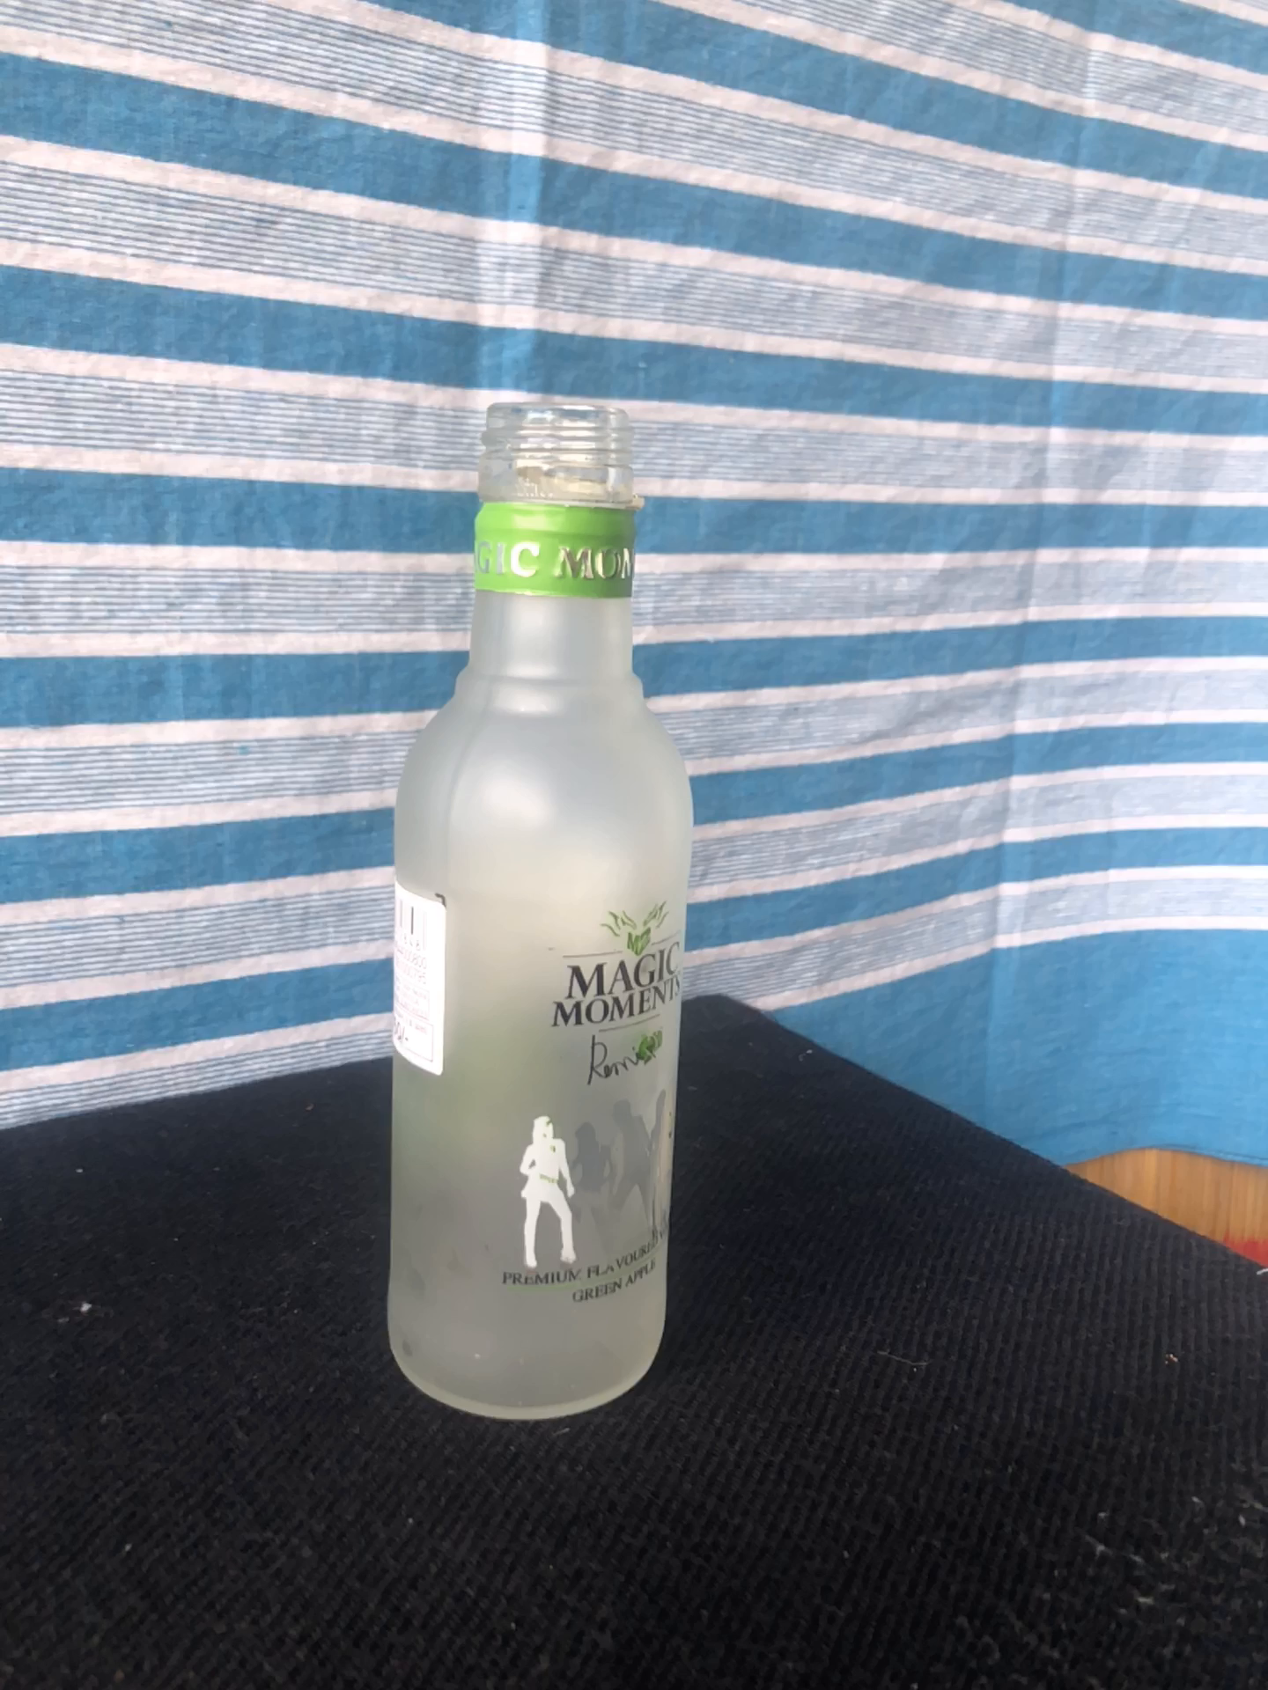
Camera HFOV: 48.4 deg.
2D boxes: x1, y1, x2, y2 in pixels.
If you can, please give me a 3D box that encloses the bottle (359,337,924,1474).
[{"bbox_3d":[-0.003,0.006,0.211,0.050,0.150,0.050,5,14,-1],"label":"bottle"}]
